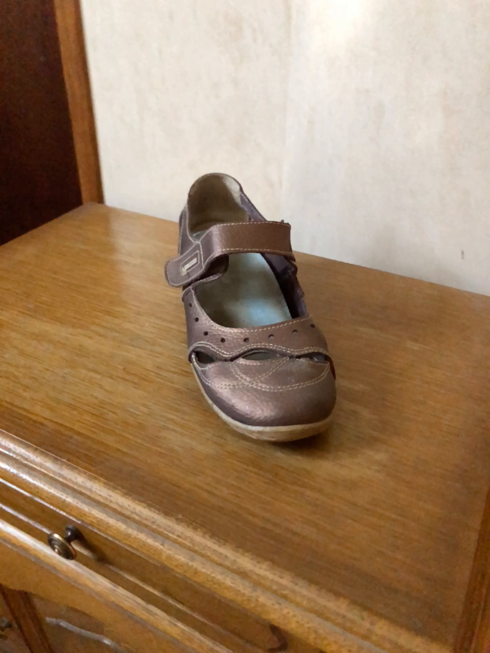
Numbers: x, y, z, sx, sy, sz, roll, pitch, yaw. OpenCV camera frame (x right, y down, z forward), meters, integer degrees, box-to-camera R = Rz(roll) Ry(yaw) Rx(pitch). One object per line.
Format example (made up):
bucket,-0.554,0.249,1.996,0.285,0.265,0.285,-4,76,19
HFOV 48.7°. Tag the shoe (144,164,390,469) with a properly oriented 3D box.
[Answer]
shoe,-0.006,-0.033,0.403,0.100,0.089,0.261,-8,35,-13
